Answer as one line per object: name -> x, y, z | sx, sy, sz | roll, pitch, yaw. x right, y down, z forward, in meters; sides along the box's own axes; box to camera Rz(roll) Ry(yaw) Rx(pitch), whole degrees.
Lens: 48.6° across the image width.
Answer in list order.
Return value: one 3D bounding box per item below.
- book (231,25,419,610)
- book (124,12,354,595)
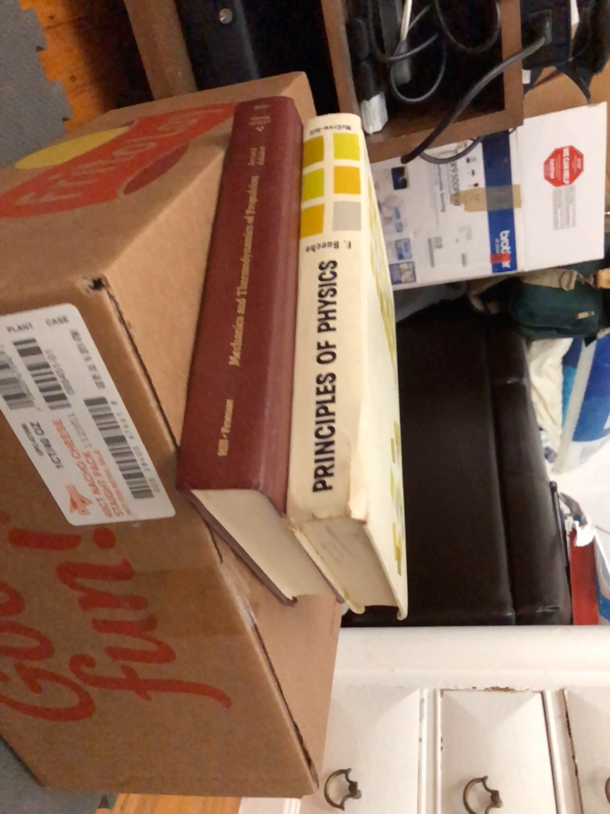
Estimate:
book -> 0.020, -0.041, 0.361 | 0.180, 0.040, 0.250 | 61, 25, -56
book -> -0.014, -0.052, 0.362 | 0.180, 0.040, 0.250 | 63, 23, -54
